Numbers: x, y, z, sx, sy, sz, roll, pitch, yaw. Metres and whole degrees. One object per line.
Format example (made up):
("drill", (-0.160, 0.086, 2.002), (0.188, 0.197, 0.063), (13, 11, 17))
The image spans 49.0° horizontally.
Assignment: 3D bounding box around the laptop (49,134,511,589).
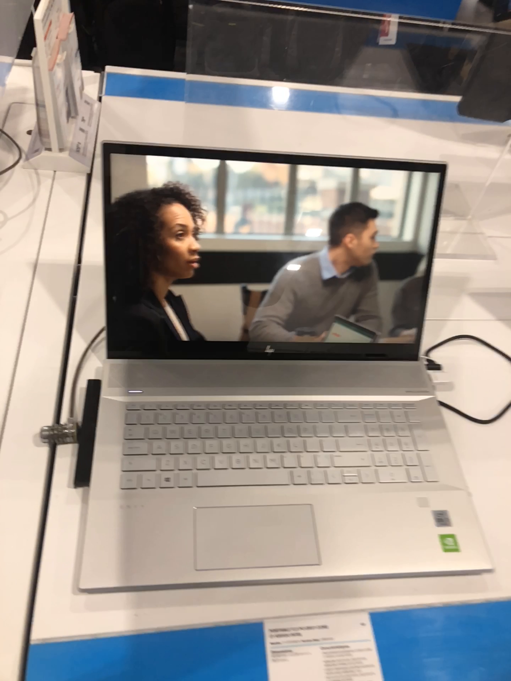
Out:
("laptop", (0.034, 0.003, 0.577), (0.390, 0.199, 0.398), (1, 50, -10))
